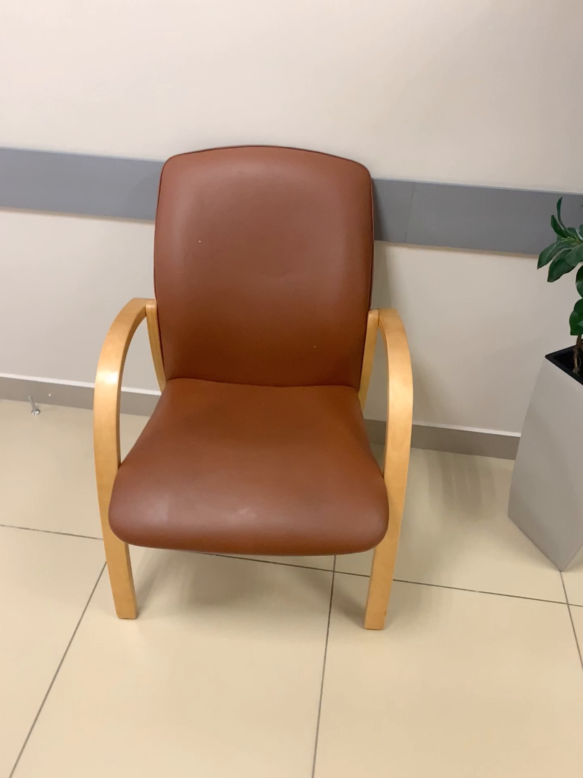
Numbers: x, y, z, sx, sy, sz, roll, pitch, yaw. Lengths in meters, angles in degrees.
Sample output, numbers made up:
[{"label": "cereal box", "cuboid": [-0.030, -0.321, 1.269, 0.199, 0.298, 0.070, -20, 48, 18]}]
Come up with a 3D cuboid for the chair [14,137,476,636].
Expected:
[{"label": "chair", "cuboid": [-0.069, 0.026, 1.408, 0.670, 0.984, 0.603, 3, 40, 1]}]
